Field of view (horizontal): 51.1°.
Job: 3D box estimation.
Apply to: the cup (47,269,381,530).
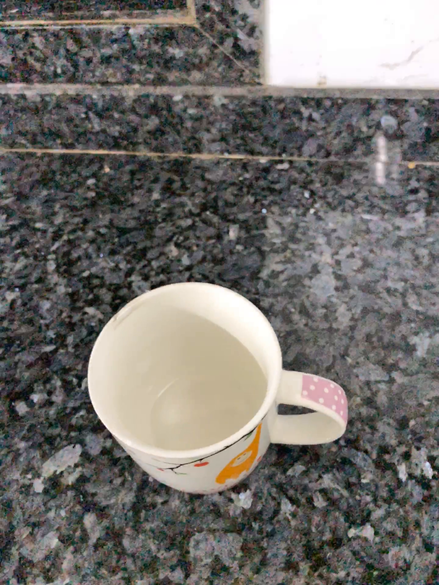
[{"bbox_3d":[0.004,0.053,0.221,0.120,0.089,0.080,5,55,9],"label":"cup"}]
